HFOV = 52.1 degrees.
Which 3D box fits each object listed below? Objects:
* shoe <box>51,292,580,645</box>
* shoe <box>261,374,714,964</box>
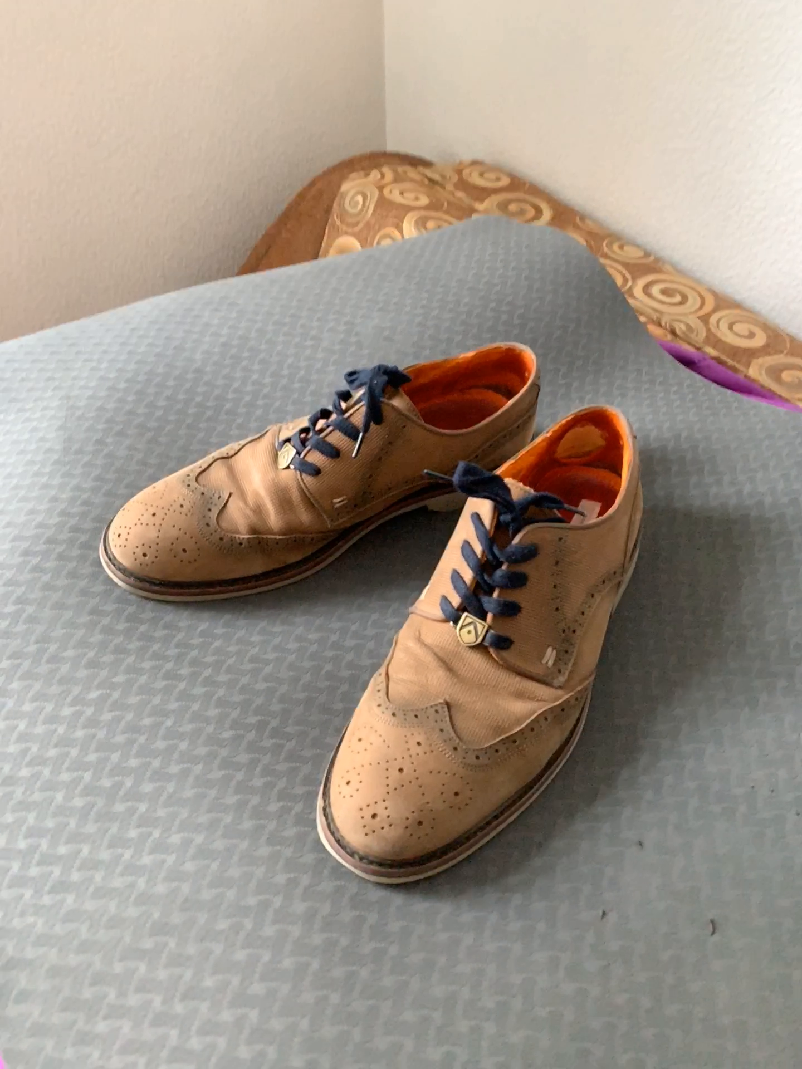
[{"bbox_3d":[-0.048,-0.052,0.529,0.300,0.090,0.110,-21,52,-17],"label":"shoe"},{"bbox_3d":[0.061,0.047,0.435,0.110,0.090,0.291,22,52,18],"label":"shoe"}]
